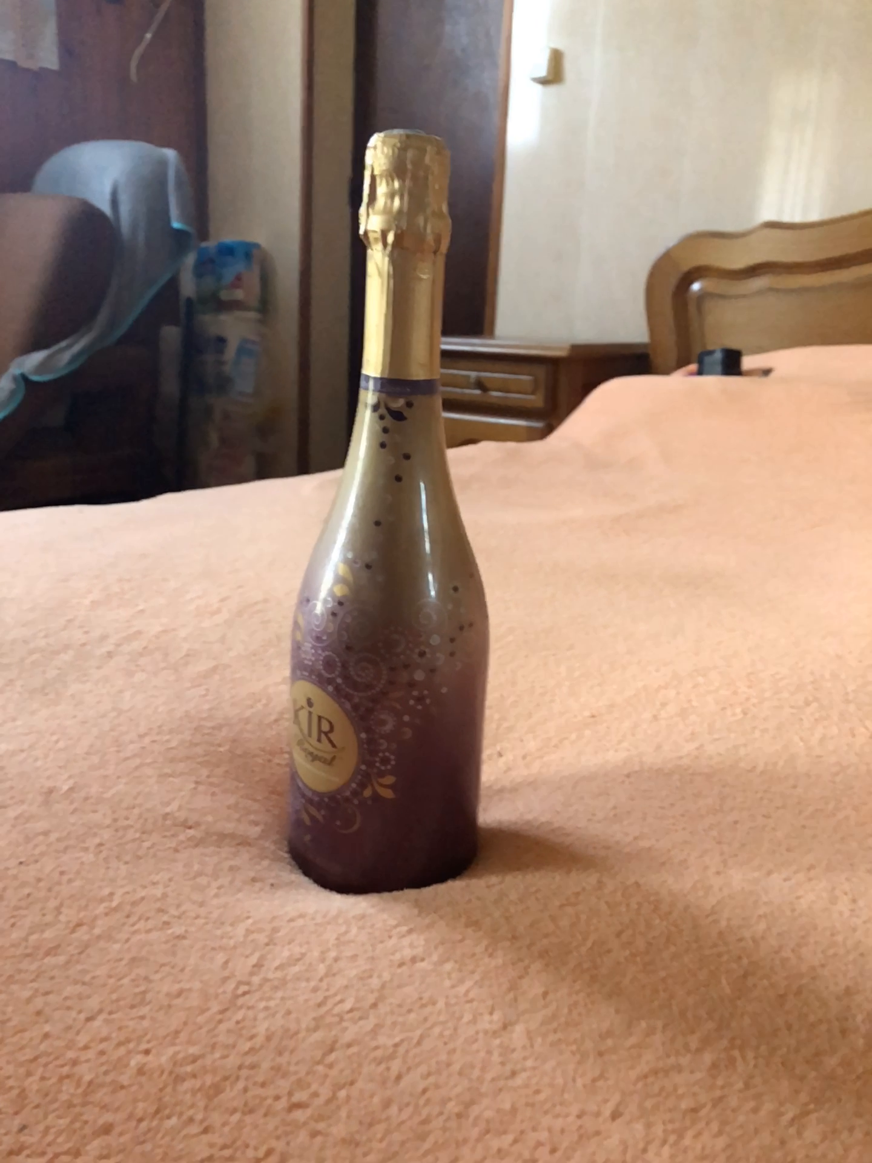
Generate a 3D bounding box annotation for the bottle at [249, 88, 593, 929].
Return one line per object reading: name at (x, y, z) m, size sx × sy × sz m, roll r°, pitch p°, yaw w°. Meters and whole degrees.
bottle at (-0.014, -0.026, 0.407) m, size 0.090 × 0.309 × 0.090 m, roll 4°, pitch 16°, yaw -1°
